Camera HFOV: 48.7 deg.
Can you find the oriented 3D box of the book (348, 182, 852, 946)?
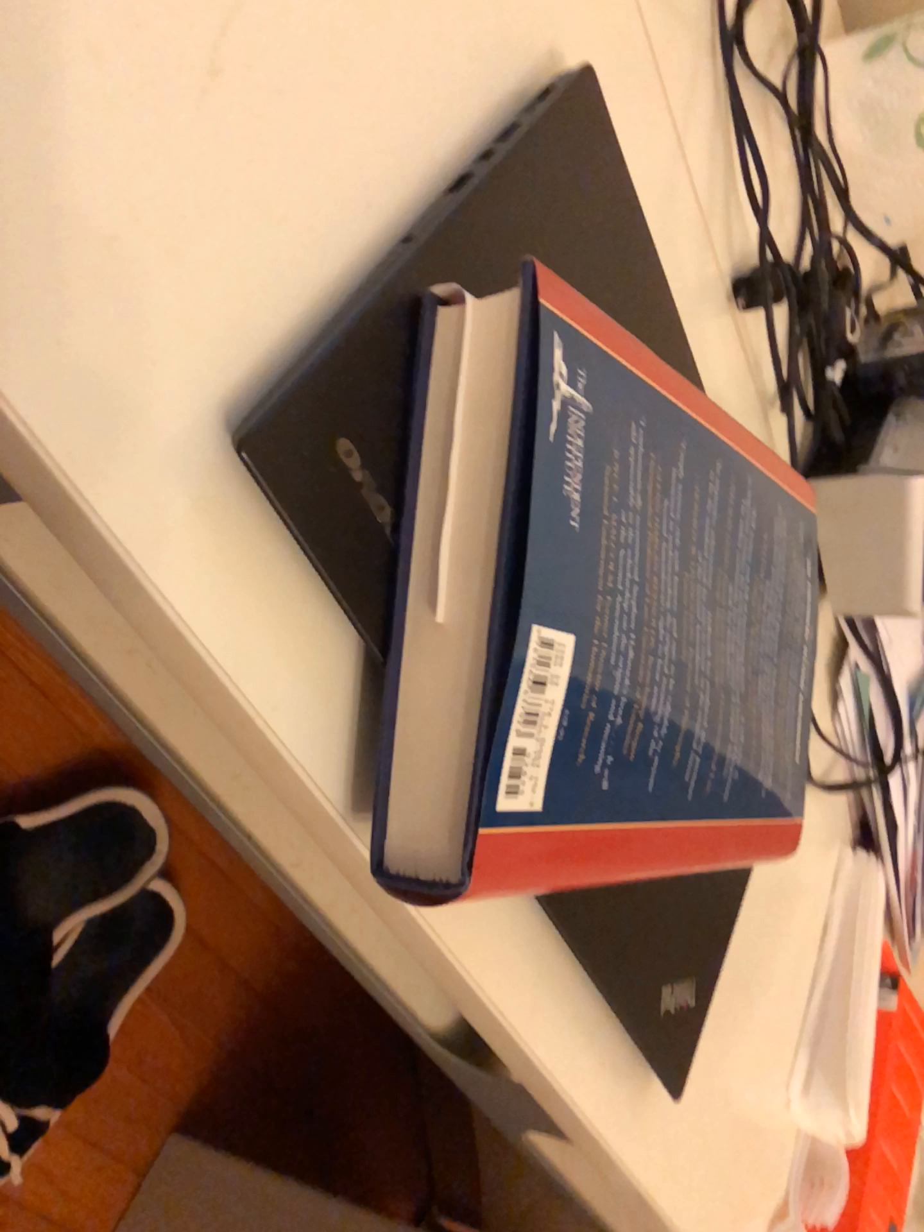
[{"bbox_3d":[0.067,0.003,0.329,0.241,0.040,0.170,14,76,-51],"label":"book"}]
